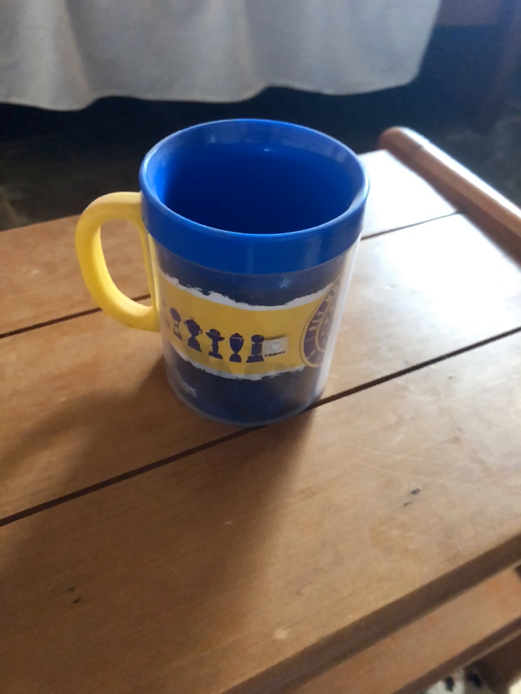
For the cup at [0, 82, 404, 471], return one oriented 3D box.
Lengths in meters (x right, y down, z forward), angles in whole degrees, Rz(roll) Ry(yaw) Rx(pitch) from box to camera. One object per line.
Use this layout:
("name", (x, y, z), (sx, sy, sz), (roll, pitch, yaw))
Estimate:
("cup", (-0.016, -0.027, 0.237), (0.120, 0.109, 0.091), (8, 46, 3))
